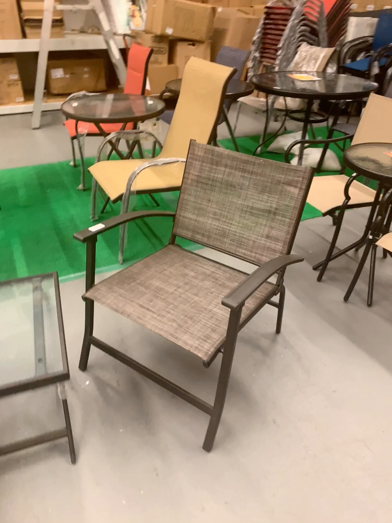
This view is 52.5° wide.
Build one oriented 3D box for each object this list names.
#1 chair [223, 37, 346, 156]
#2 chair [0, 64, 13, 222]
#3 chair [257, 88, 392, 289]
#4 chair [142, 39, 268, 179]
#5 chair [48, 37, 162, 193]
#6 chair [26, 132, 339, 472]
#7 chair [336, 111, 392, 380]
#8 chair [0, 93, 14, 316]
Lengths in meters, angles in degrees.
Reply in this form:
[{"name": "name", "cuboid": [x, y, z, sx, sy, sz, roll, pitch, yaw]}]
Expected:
[{"name": "chair", "cuboid": [0.876, -1.749, 4.193, 0.869, 0.996, 0.698, -12, 36, -23]}, {"name": "chair", "cuboid": [-1.633, -0.797, 2.635, 0.628, 0.837, 0.557, -9, 36, -19]}, {"name": "chair", "cuboid": [0.810, -0.423, 2.146, 0.629, 0.837, 0.577, -13, 37, -25]}, {"name": "chair", "cuboid": [0.030, -1.361, 3.493, 0.769, 0.956, 0.738, -13, 37, -25]}, {"name": "chair", "cuboid": [-0.692, -1.141, 3.078, 0.668, 0.956, 0.678, -10, 36, -20]}, {"name": "chair", "cuboid": [-0.005, 0.063, 1.475, 0.675, 0.777, 0.771, 21, 38, 26]}, {"name": "chair", "cuboid": [1.123, -0.109, 1.685, 0.629, 0.847, 0.556, -18, 39, -30]}, {"name": "chair", "cuboid": [-1.284, -0.295, 1.891, 0.628, 0.827, 0.557, -9, 36, -19]}]
